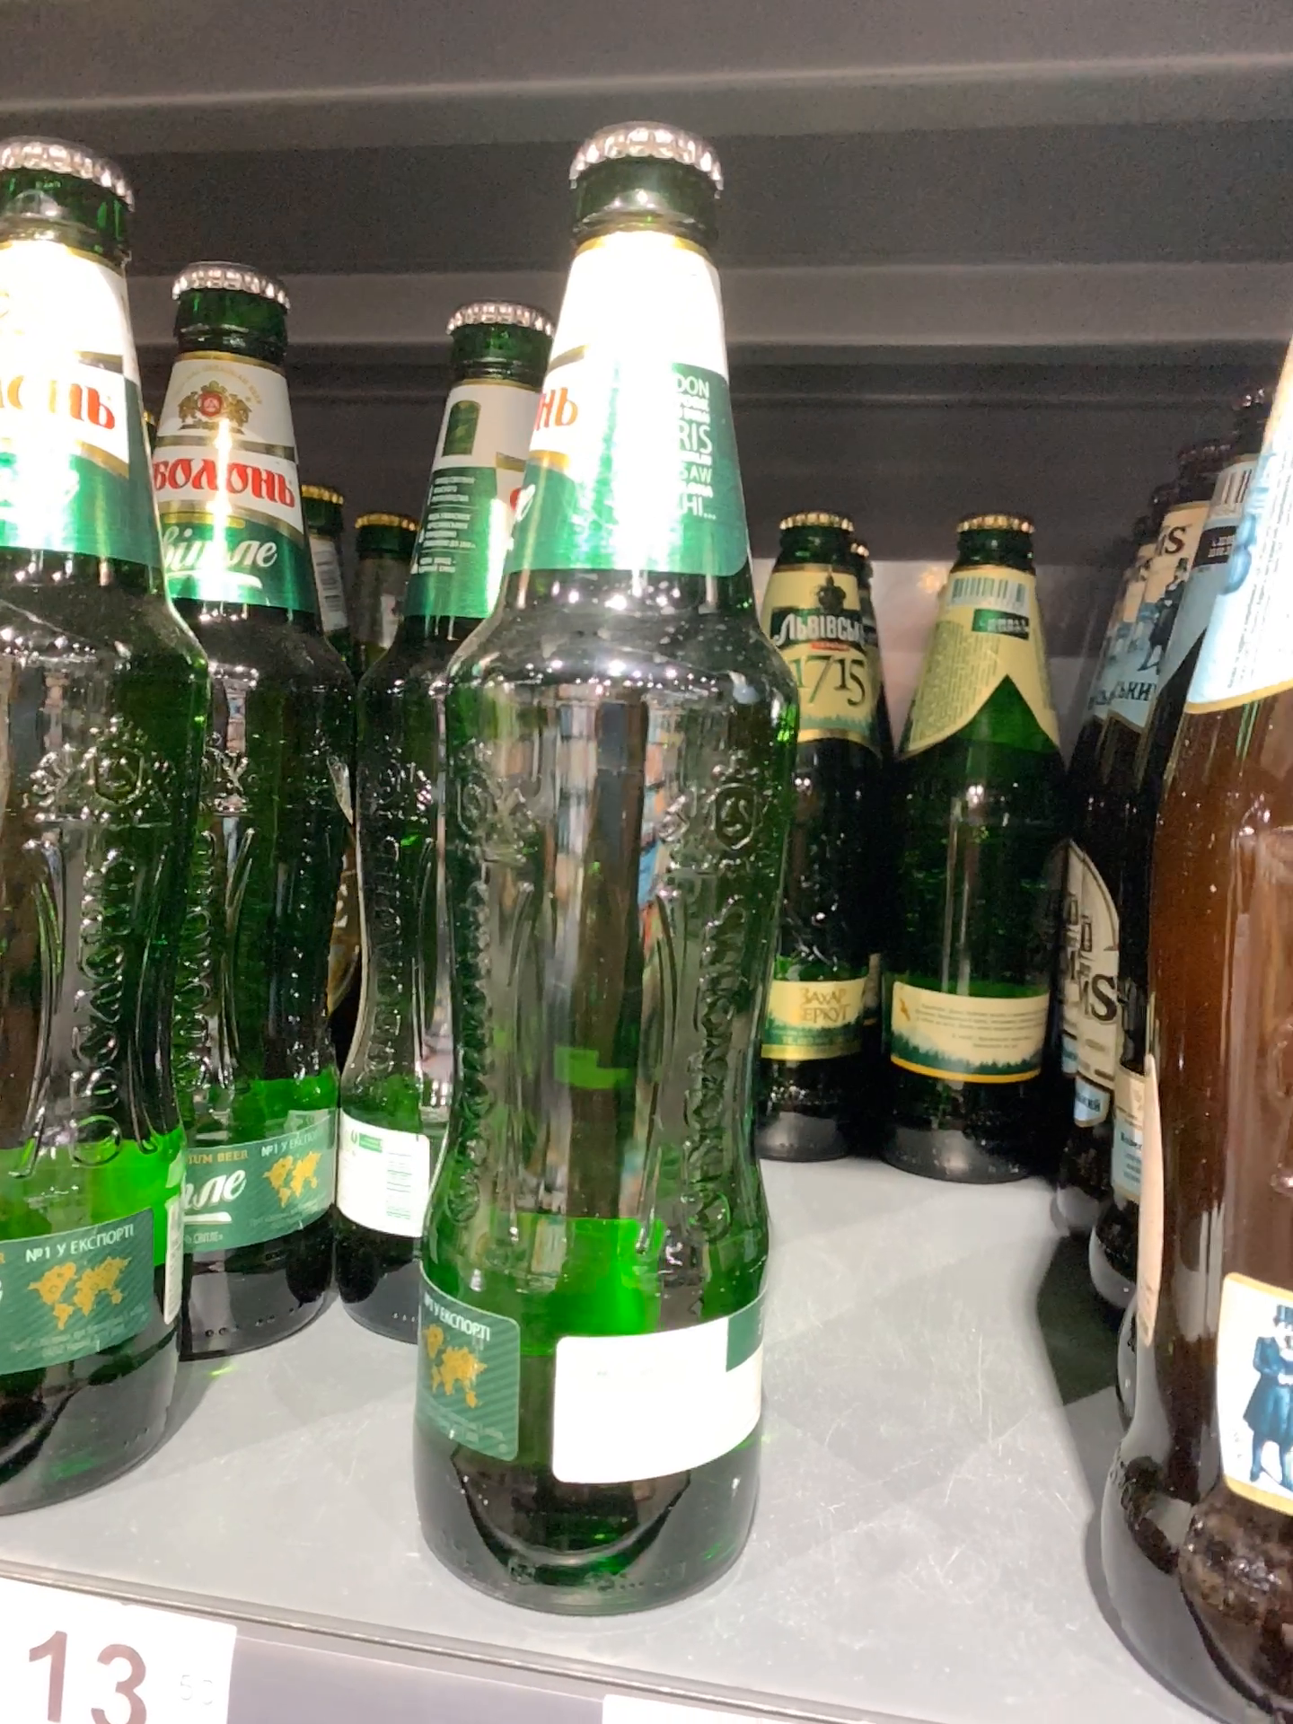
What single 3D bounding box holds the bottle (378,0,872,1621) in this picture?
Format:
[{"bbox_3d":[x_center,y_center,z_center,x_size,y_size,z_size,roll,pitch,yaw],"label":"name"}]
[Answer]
[{"bbox_3d":[-0.010,-0.006,0.253,0.070,0.257,0.073,3,4,0],"label":"bottle"}]
